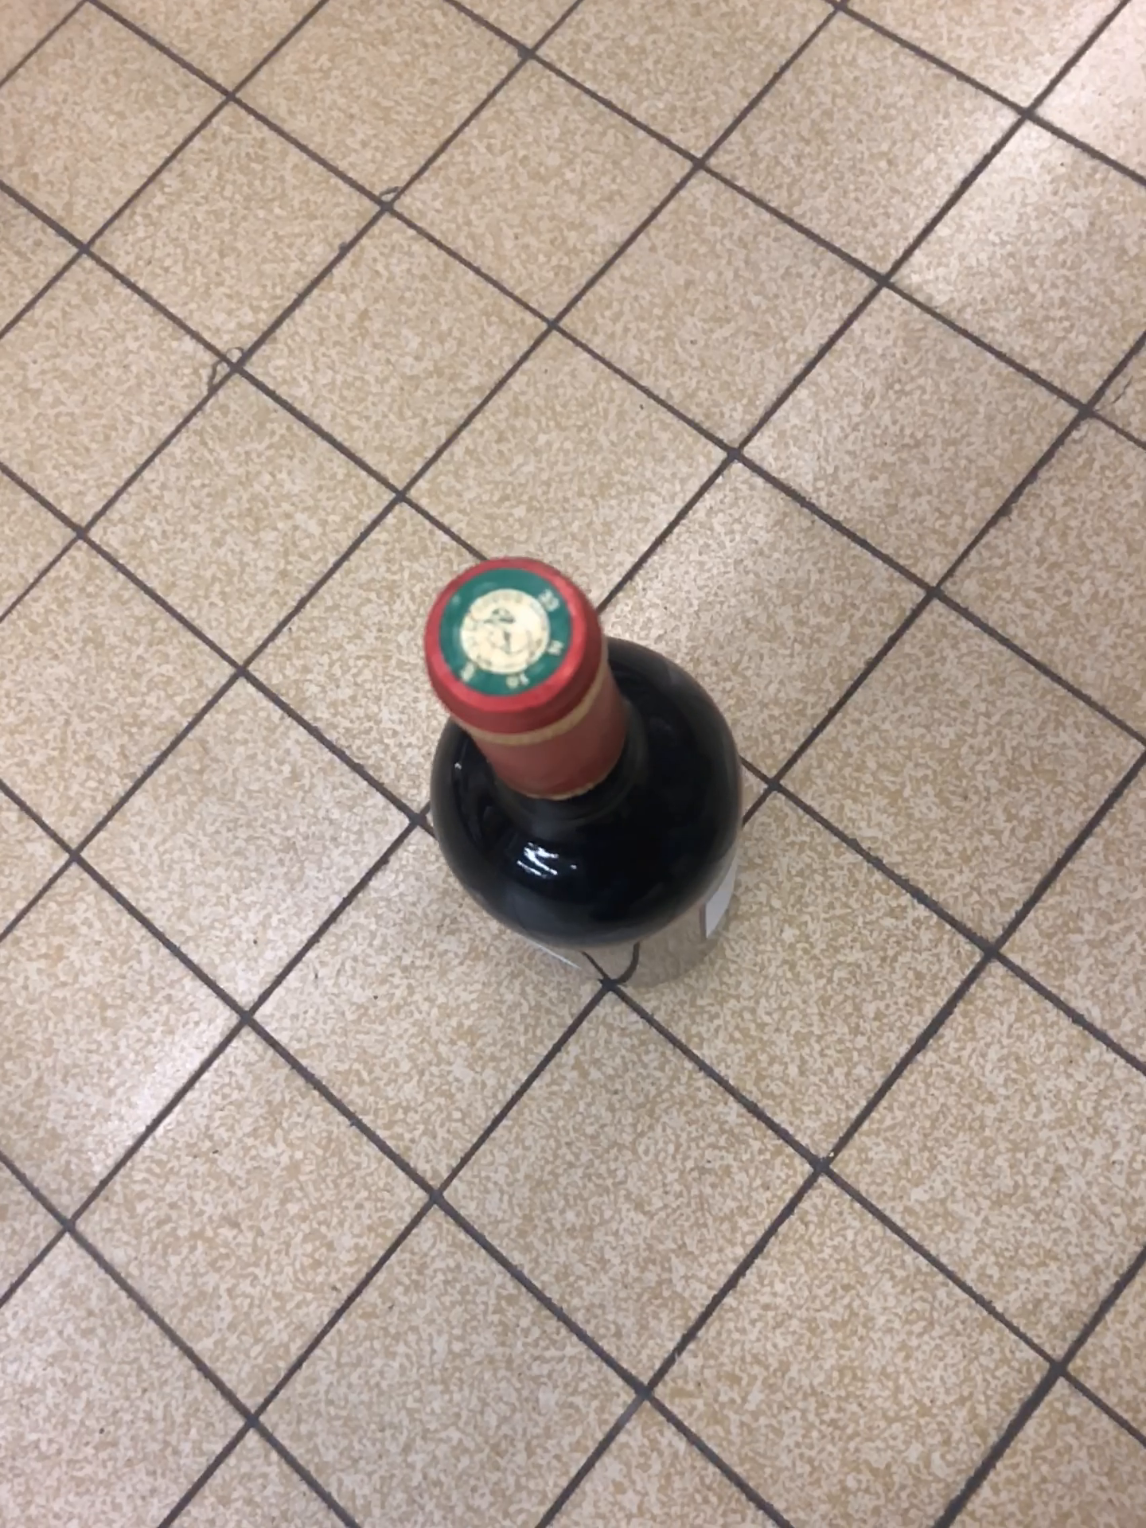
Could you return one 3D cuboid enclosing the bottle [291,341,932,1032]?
[{"bbox_3d":[0.017,0.015,0.336,0.090,0.288,0.090,-1,76,6],"label":"bottle"}]
